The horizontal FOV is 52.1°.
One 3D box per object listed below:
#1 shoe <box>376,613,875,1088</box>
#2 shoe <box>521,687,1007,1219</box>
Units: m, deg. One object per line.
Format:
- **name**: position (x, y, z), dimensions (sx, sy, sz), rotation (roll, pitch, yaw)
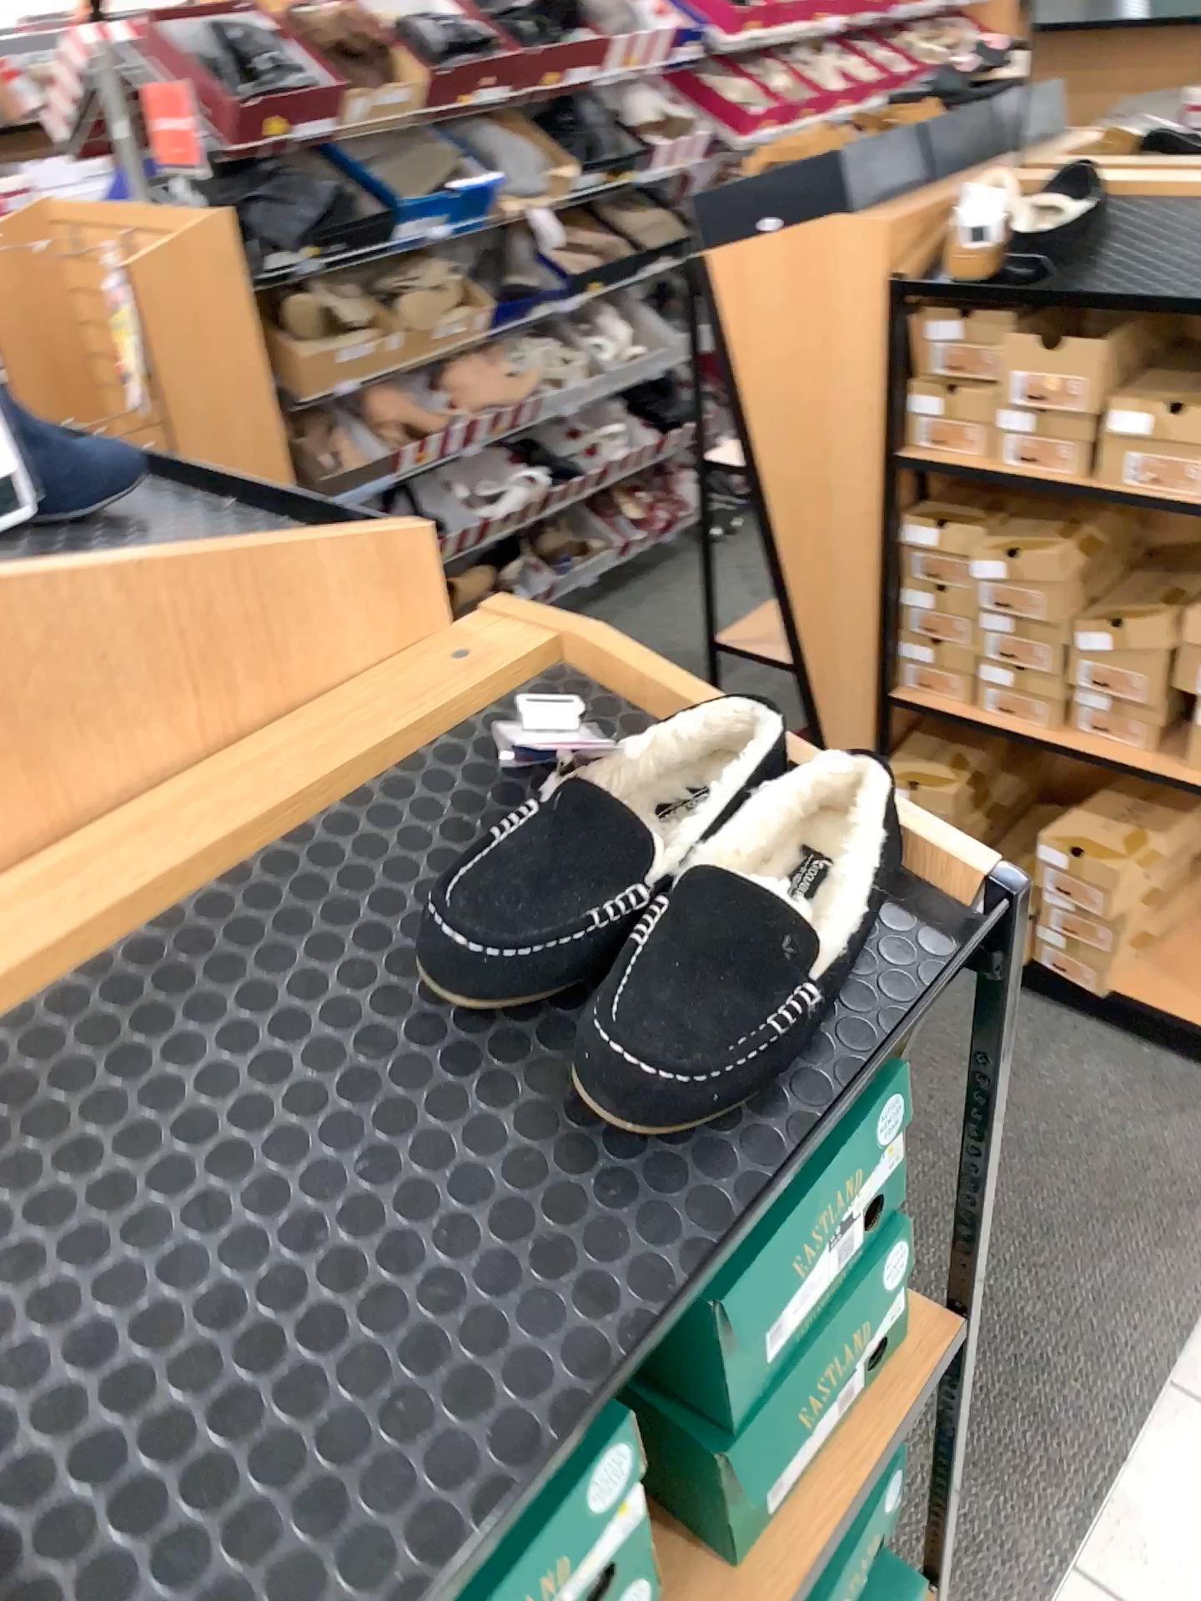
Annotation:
- **shoe**: position (0.017, 0.014, 0.603), dimensions (0.087, 0.089, 0.251), rotation (39, 52, 21)
- **shoe**: position (0.083, 0.058, 0.573), dimensions (0.086, 0.089, 0.251), rotation (35, 49, 18)
